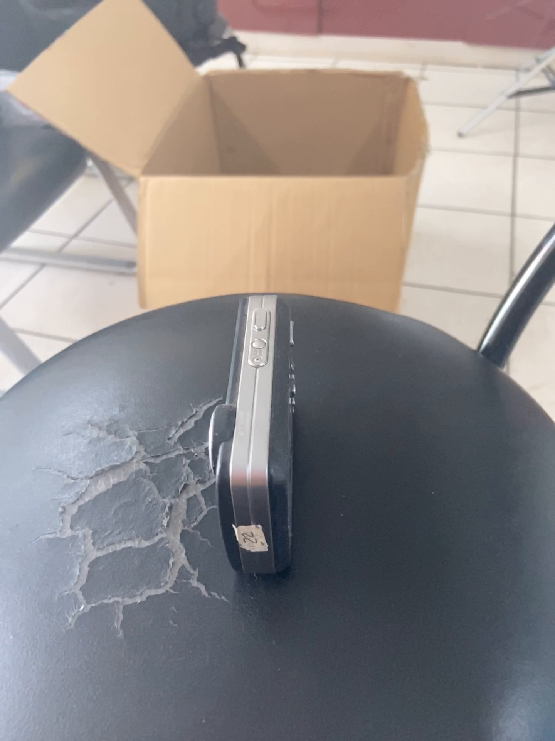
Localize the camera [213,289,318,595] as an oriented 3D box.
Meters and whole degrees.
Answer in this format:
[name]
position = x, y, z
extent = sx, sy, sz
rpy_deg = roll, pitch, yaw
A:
[camera]
position = 0.000, 0.023, 0.222
extent = 0.030, 0.060, 0.101
rpy_deg = 0, 44, 3
